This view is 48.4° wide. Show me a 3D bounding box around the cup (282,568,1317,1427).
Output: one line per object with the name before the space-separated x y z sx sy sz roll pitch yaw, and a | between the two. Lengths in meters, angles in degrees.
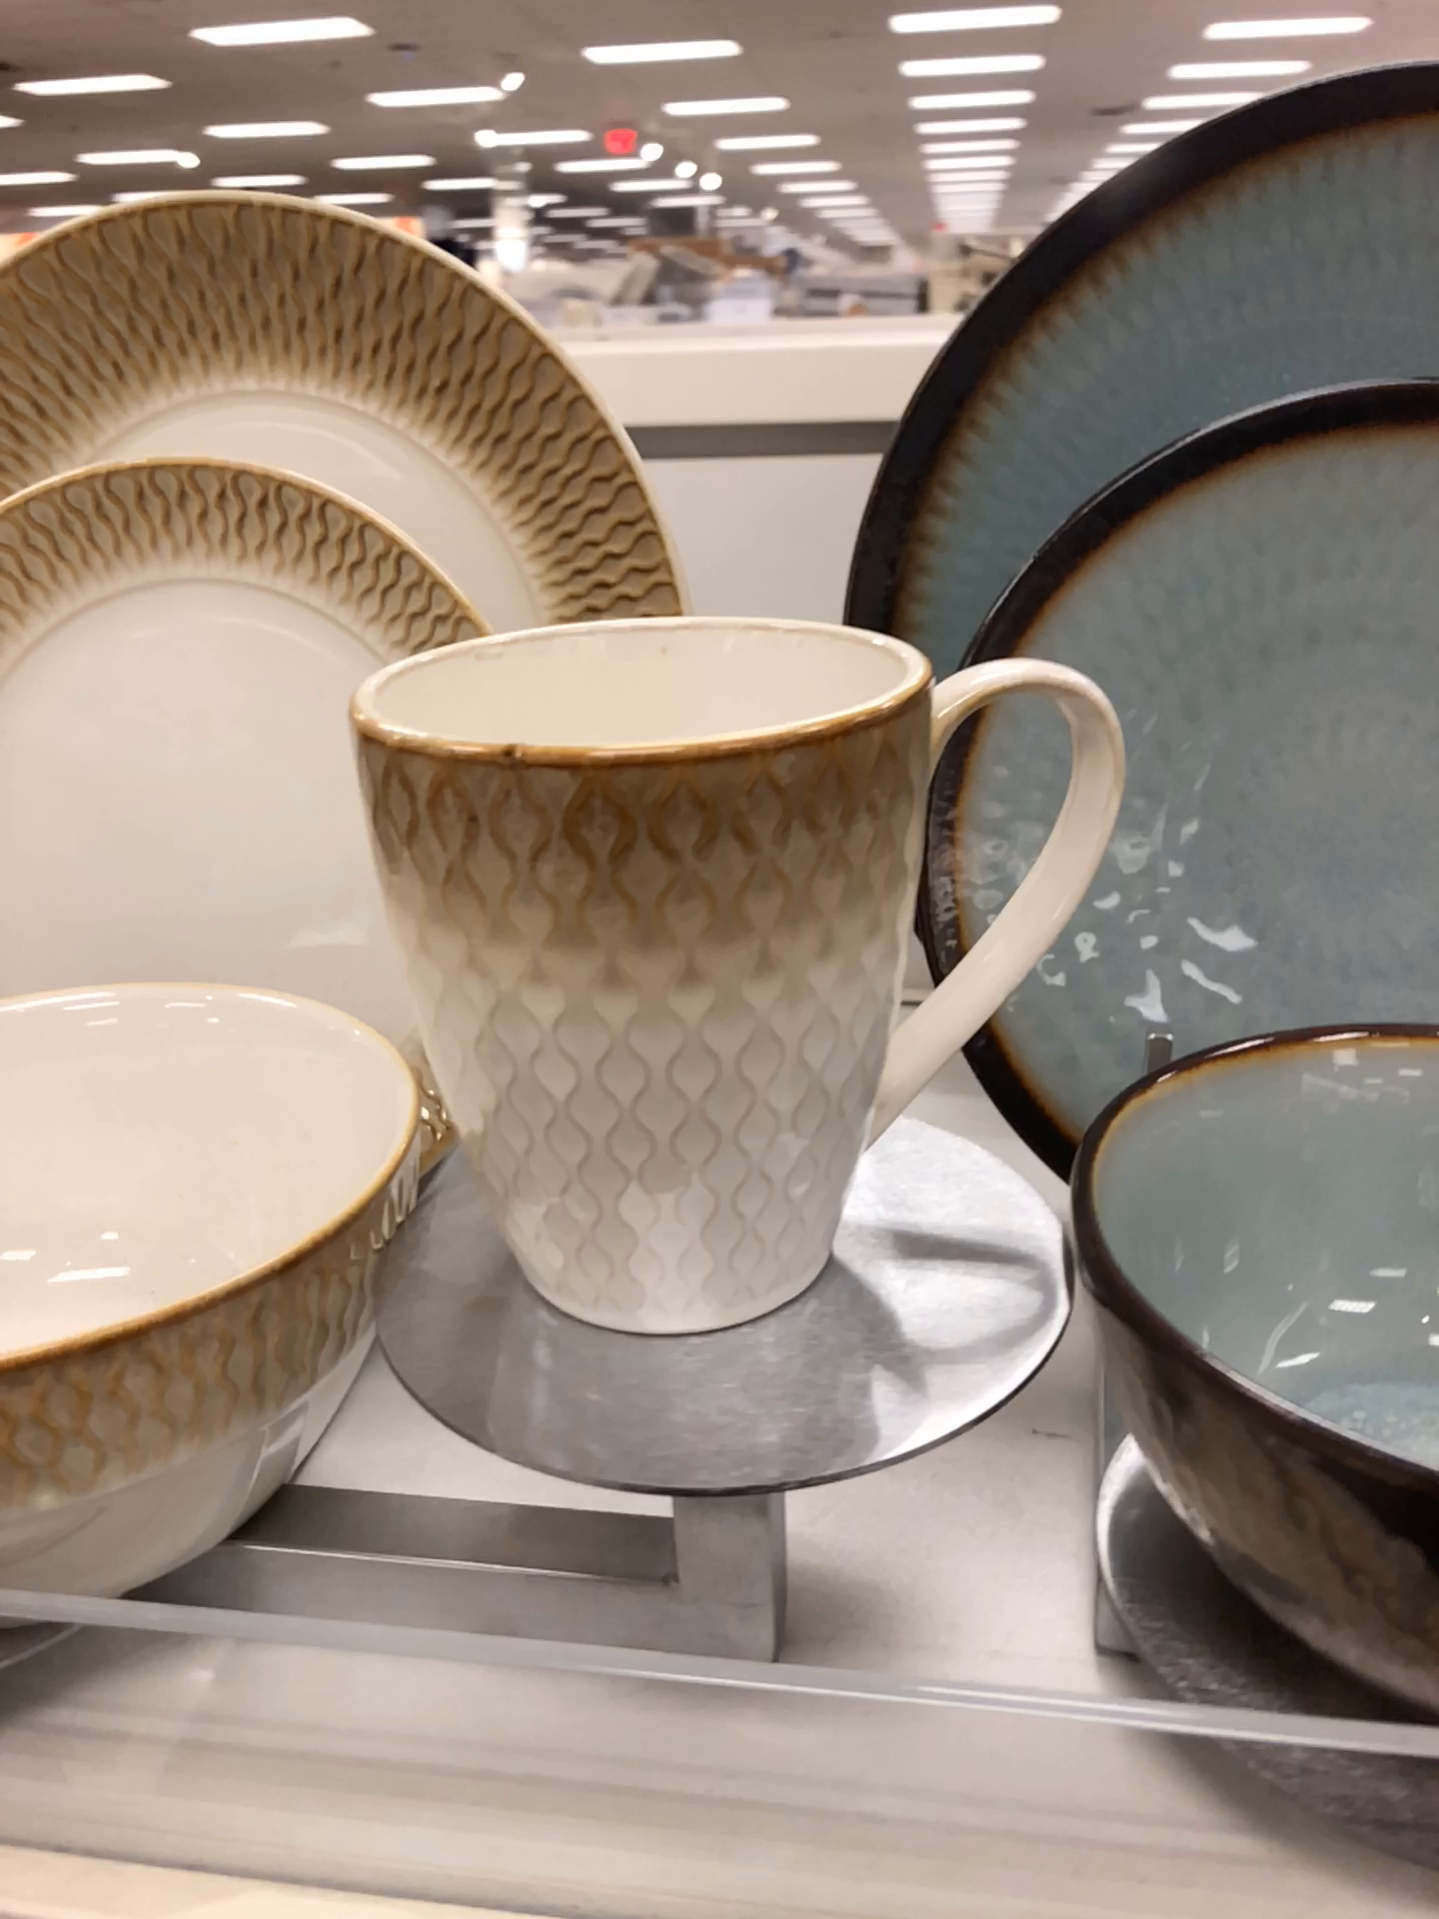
cup | 0.010 -0.008 0.266 0.129 0.089 0.100 -13 24 -26
